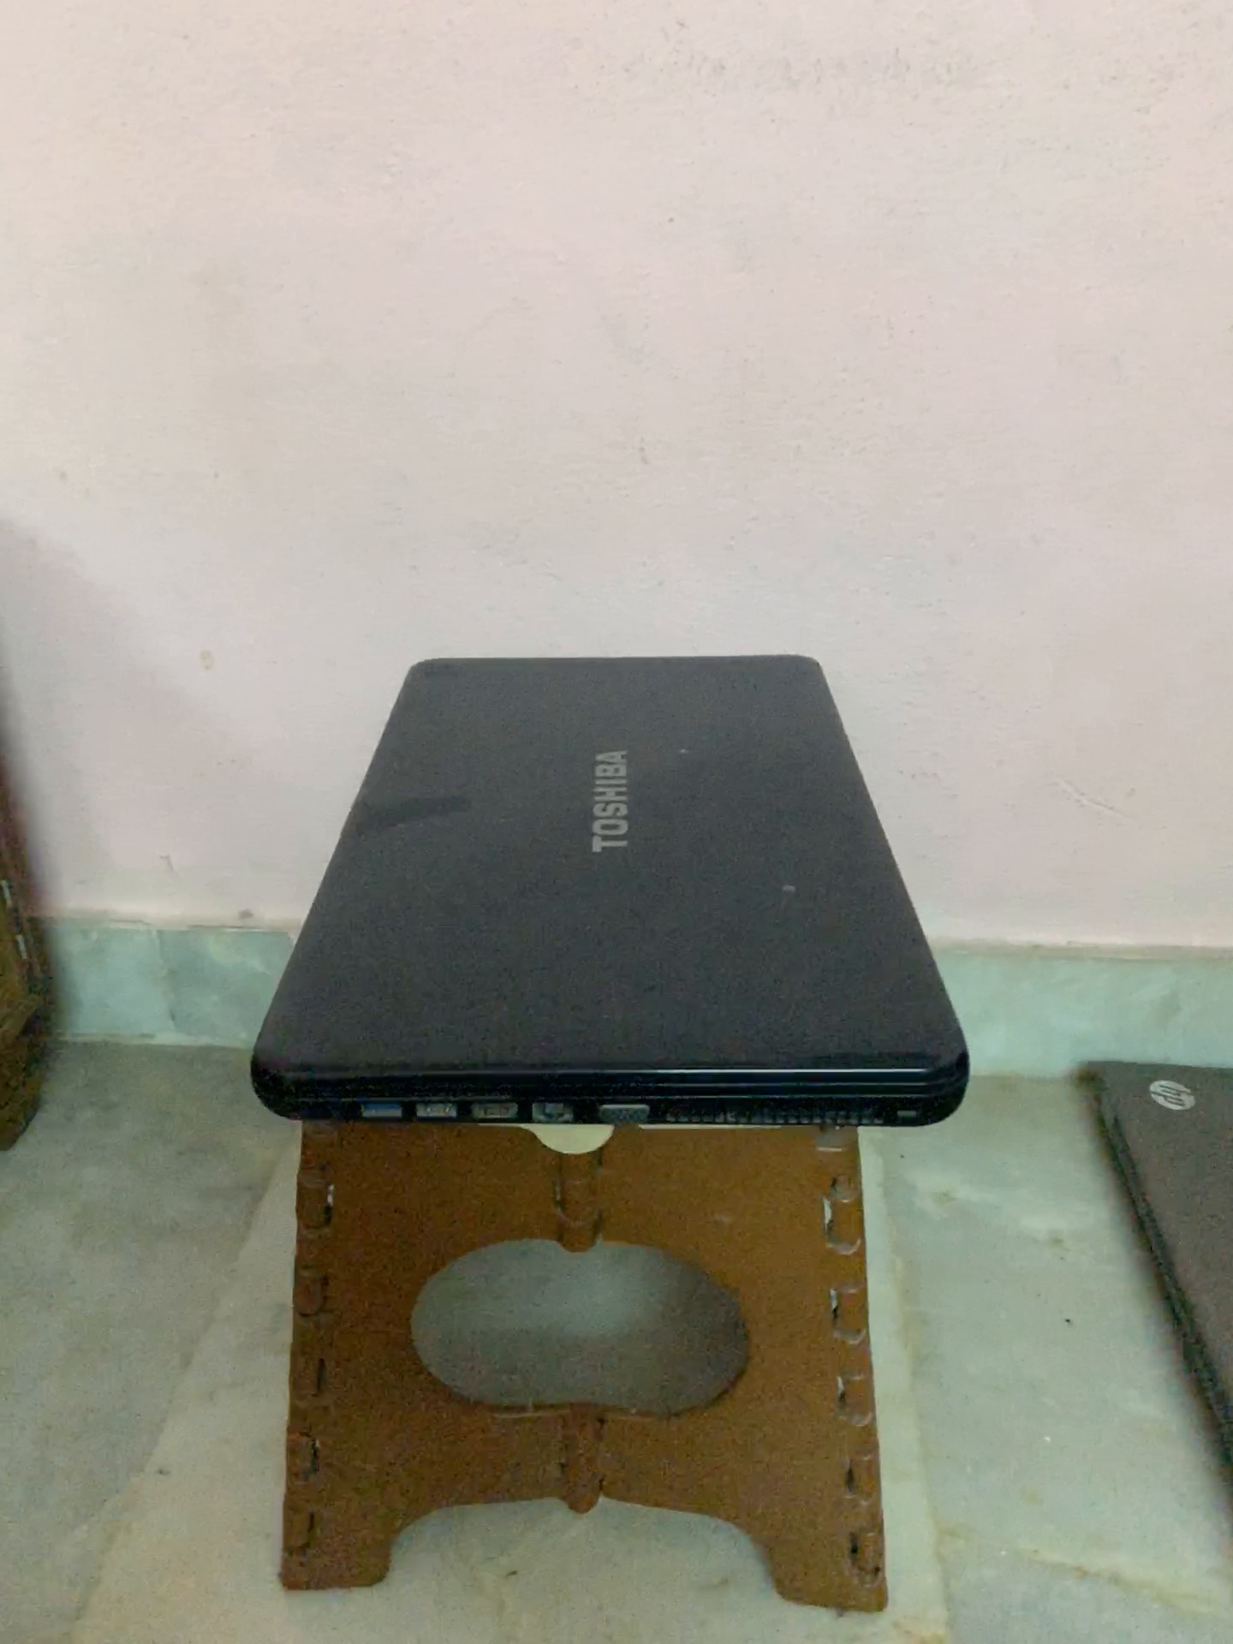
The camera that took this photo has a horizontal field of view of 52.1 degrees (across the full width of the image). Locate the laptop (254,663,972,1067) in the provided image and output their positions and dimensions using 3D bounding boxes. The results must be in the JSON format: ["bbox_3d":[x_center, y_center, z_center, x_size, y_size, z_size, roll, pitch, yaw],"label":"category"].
[{"bbox_3d":[-0.001,-0.007,0.578,0.236,0.001,0.370,0,28,1],"label":"laptop"}]
